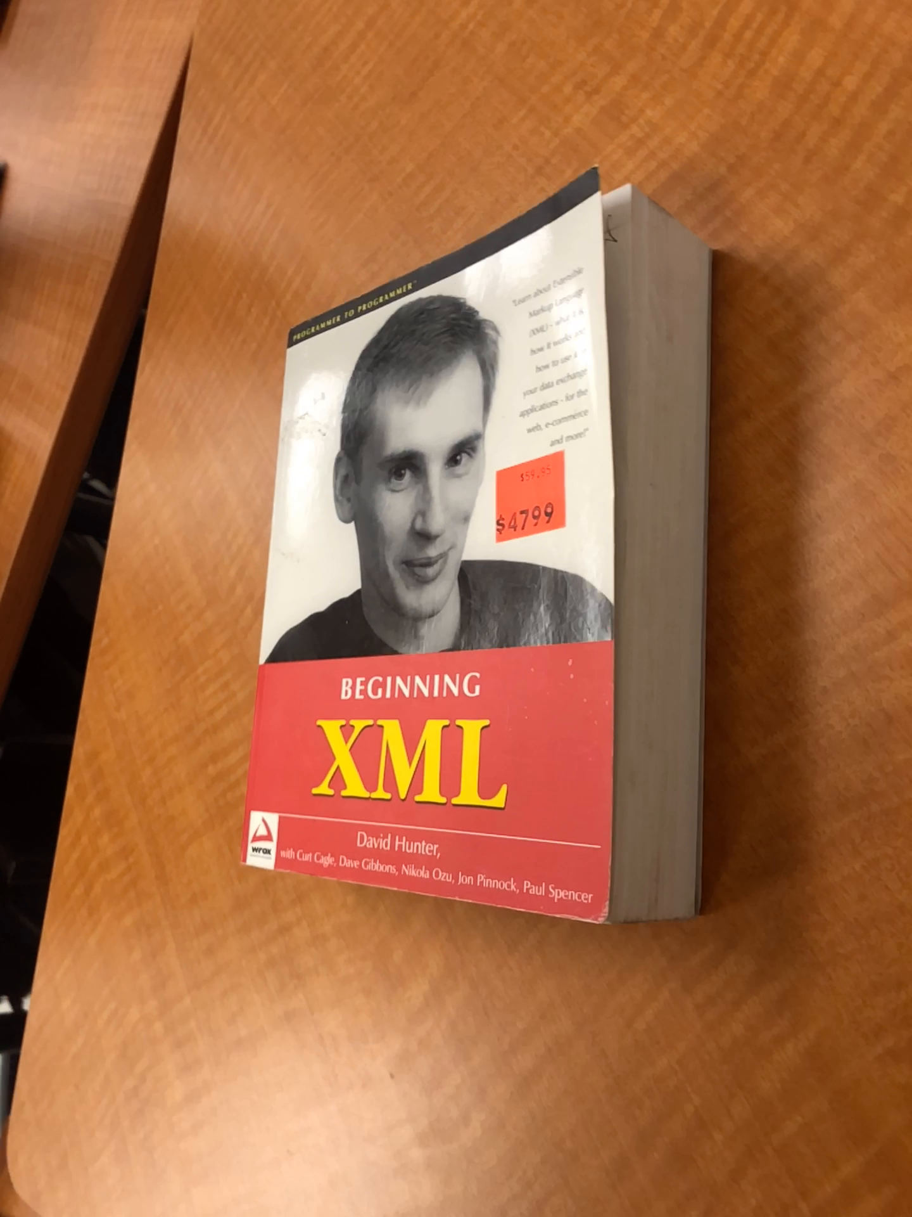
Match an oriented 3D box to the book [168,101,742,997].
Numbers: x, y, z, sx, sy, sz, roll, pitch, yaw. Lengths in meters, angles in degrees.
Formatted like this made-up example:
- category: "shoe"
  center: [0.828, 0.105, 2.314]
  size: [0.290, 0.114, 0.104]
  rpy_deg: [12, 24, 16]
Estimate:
- category: "book"
  center: [-0.009, -0.015, 0.398]
  size: [0.221, 0.070, 0.270]
  rpy_deg: [-5, 77, 44]
